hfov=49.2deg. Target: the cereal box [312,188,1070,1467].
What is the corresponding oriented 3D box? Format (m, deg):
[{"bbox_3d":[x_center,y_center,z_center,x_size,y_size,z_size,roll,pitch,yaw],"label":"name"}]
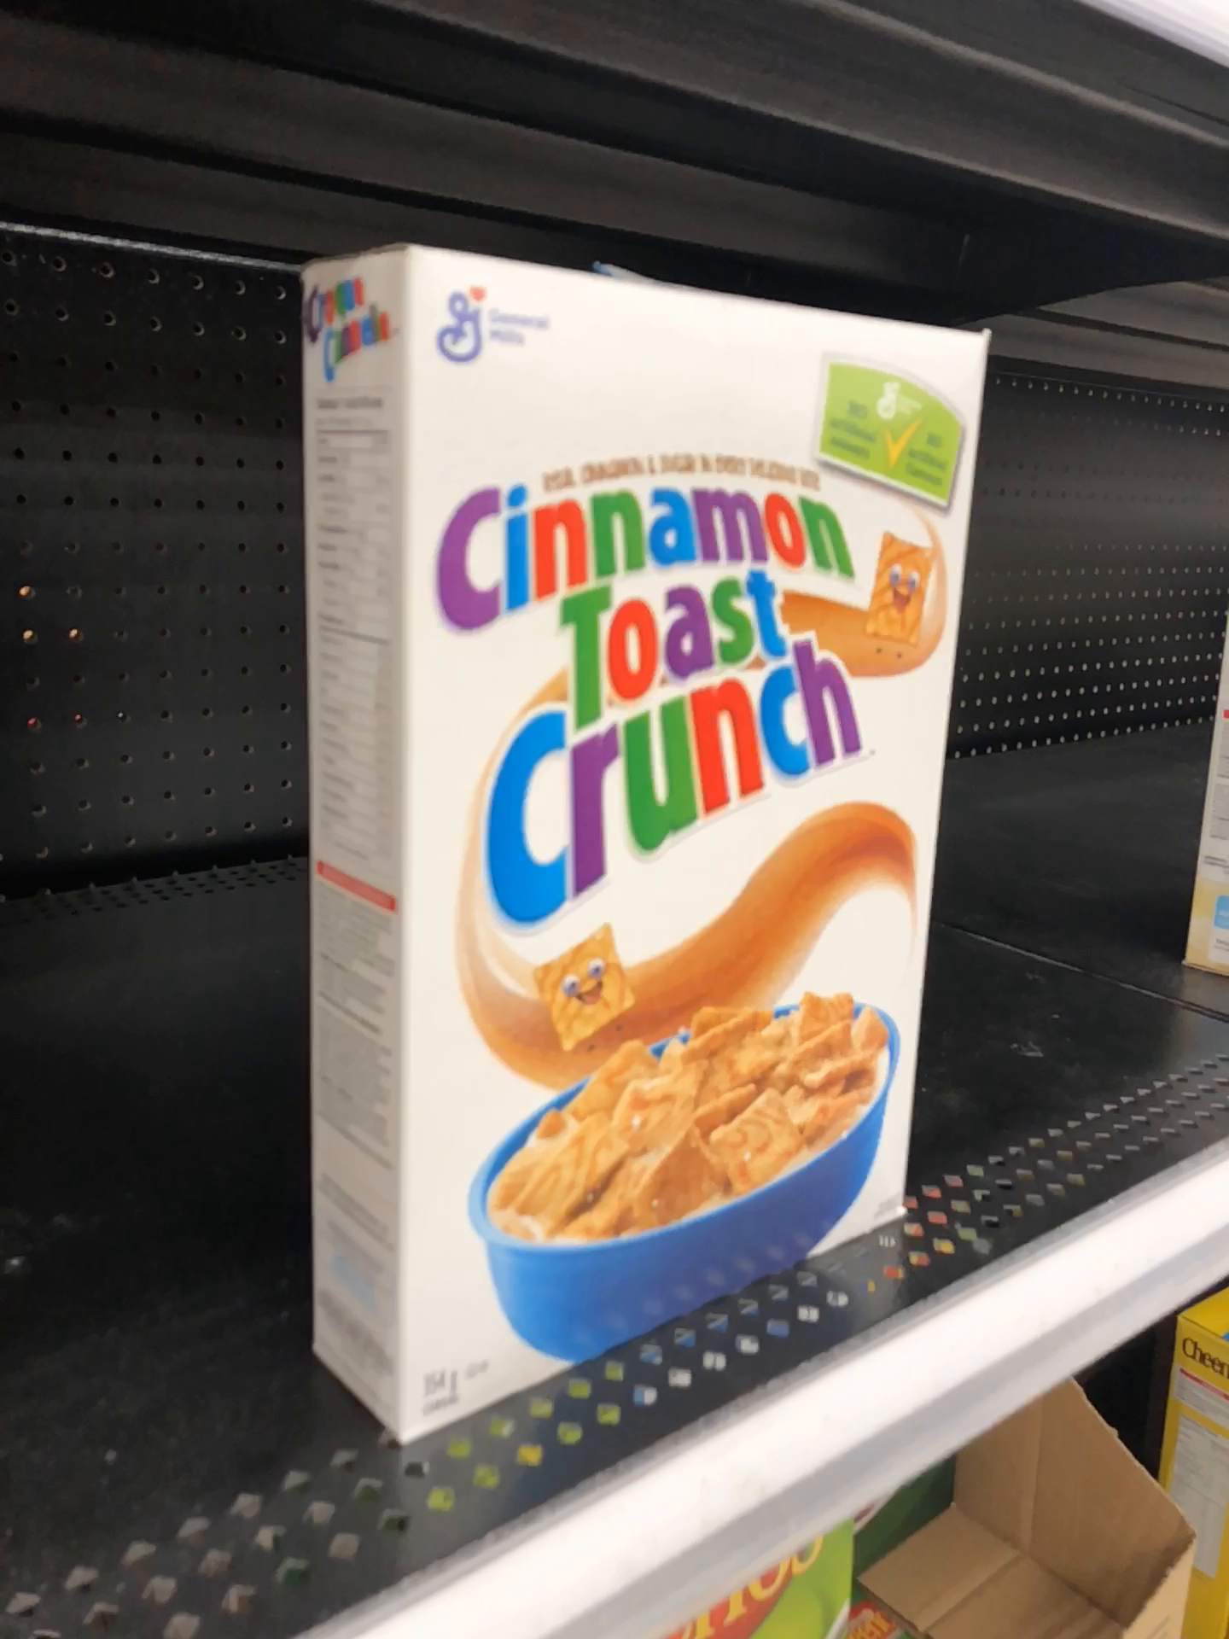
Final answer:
[{"bbox_3d":[0.027,-0.002,0.368,0.210,0.279,0.050,-8,17,-38],"label":"cereal box"}]
